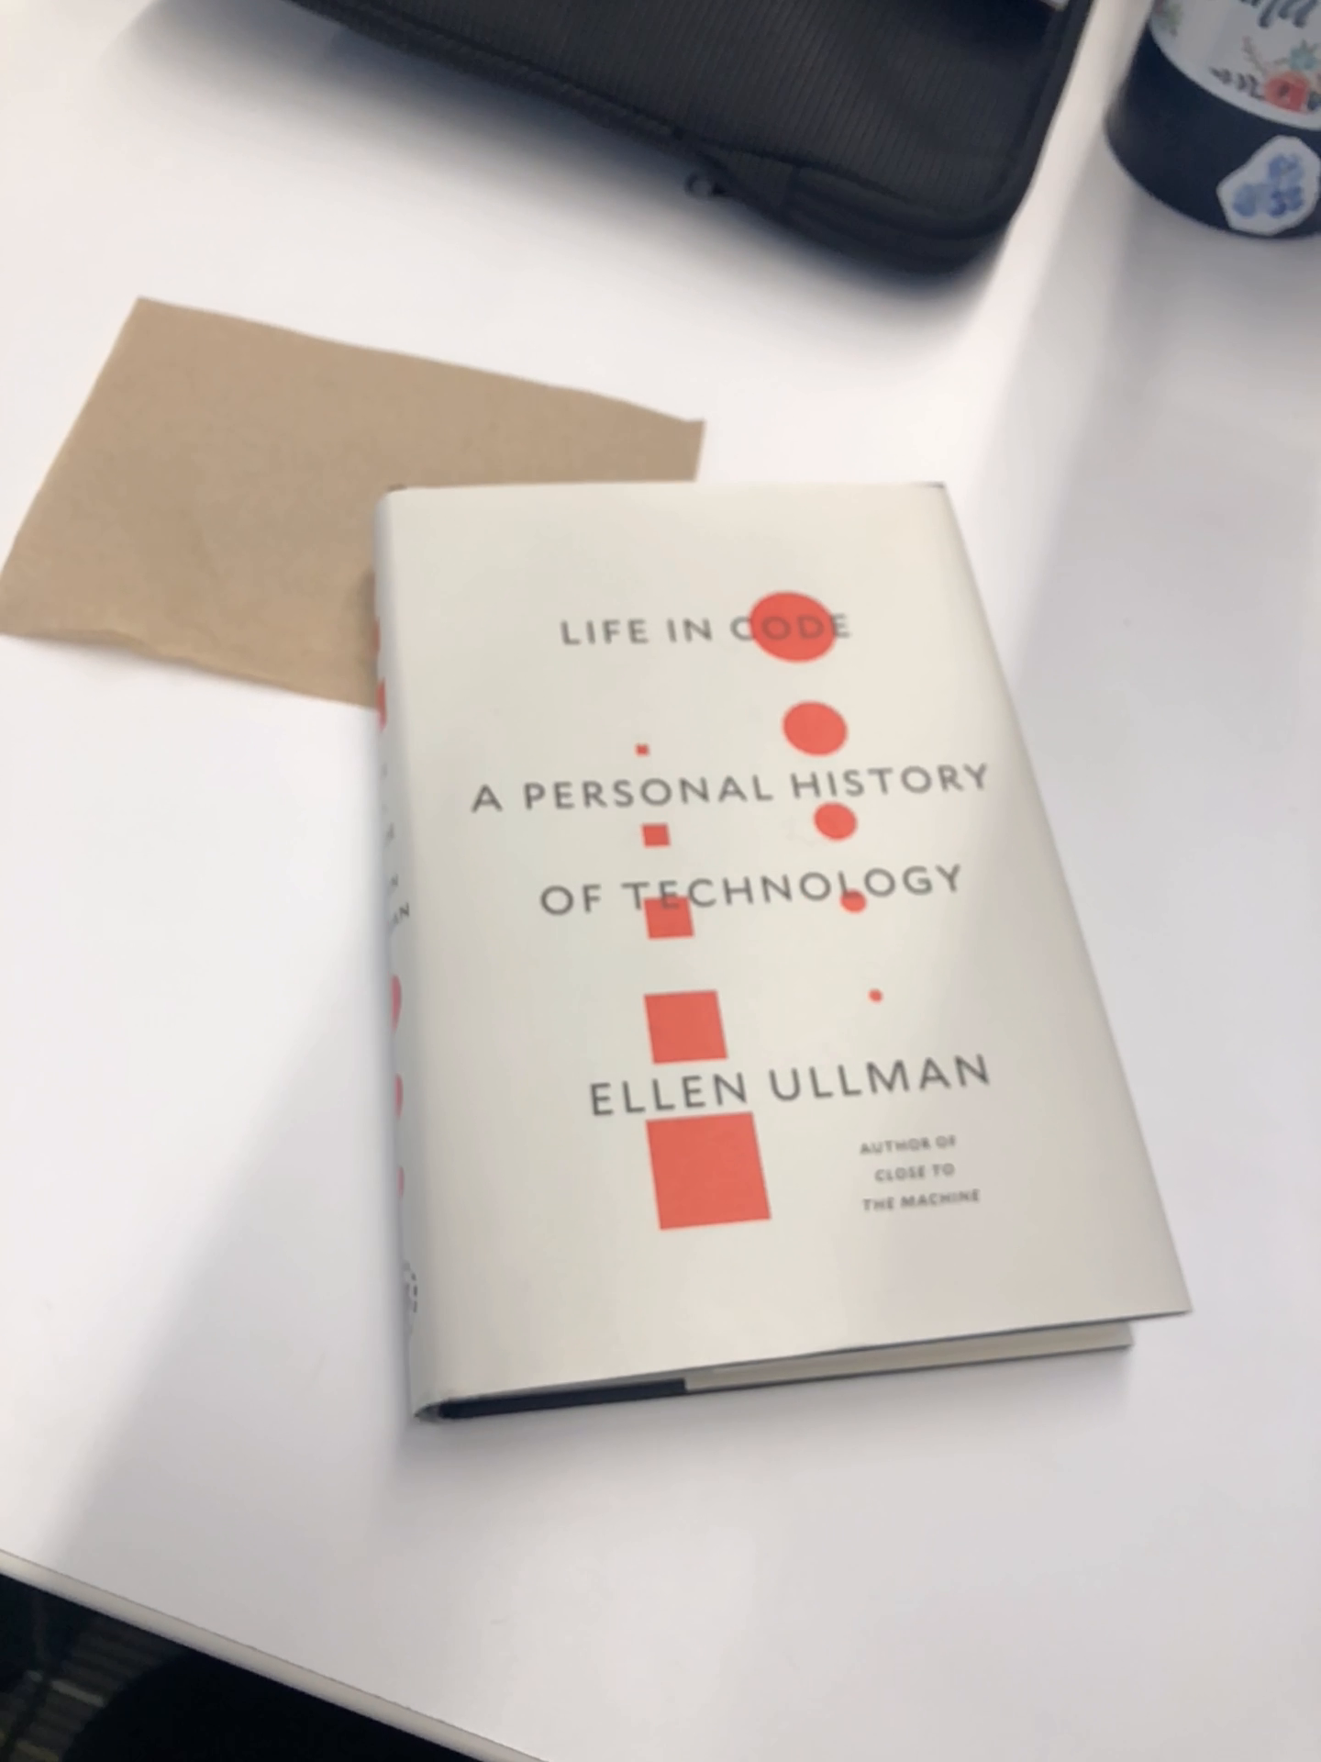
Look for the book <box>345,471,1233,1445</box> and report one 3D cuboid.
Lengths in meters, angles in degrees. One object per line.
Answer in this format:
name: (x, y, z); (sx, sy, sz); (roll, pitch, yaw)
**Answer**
book: (0.014, 0.000, 0.334); (0.160, 0.030, 0.221); (-2, 60, -10)
